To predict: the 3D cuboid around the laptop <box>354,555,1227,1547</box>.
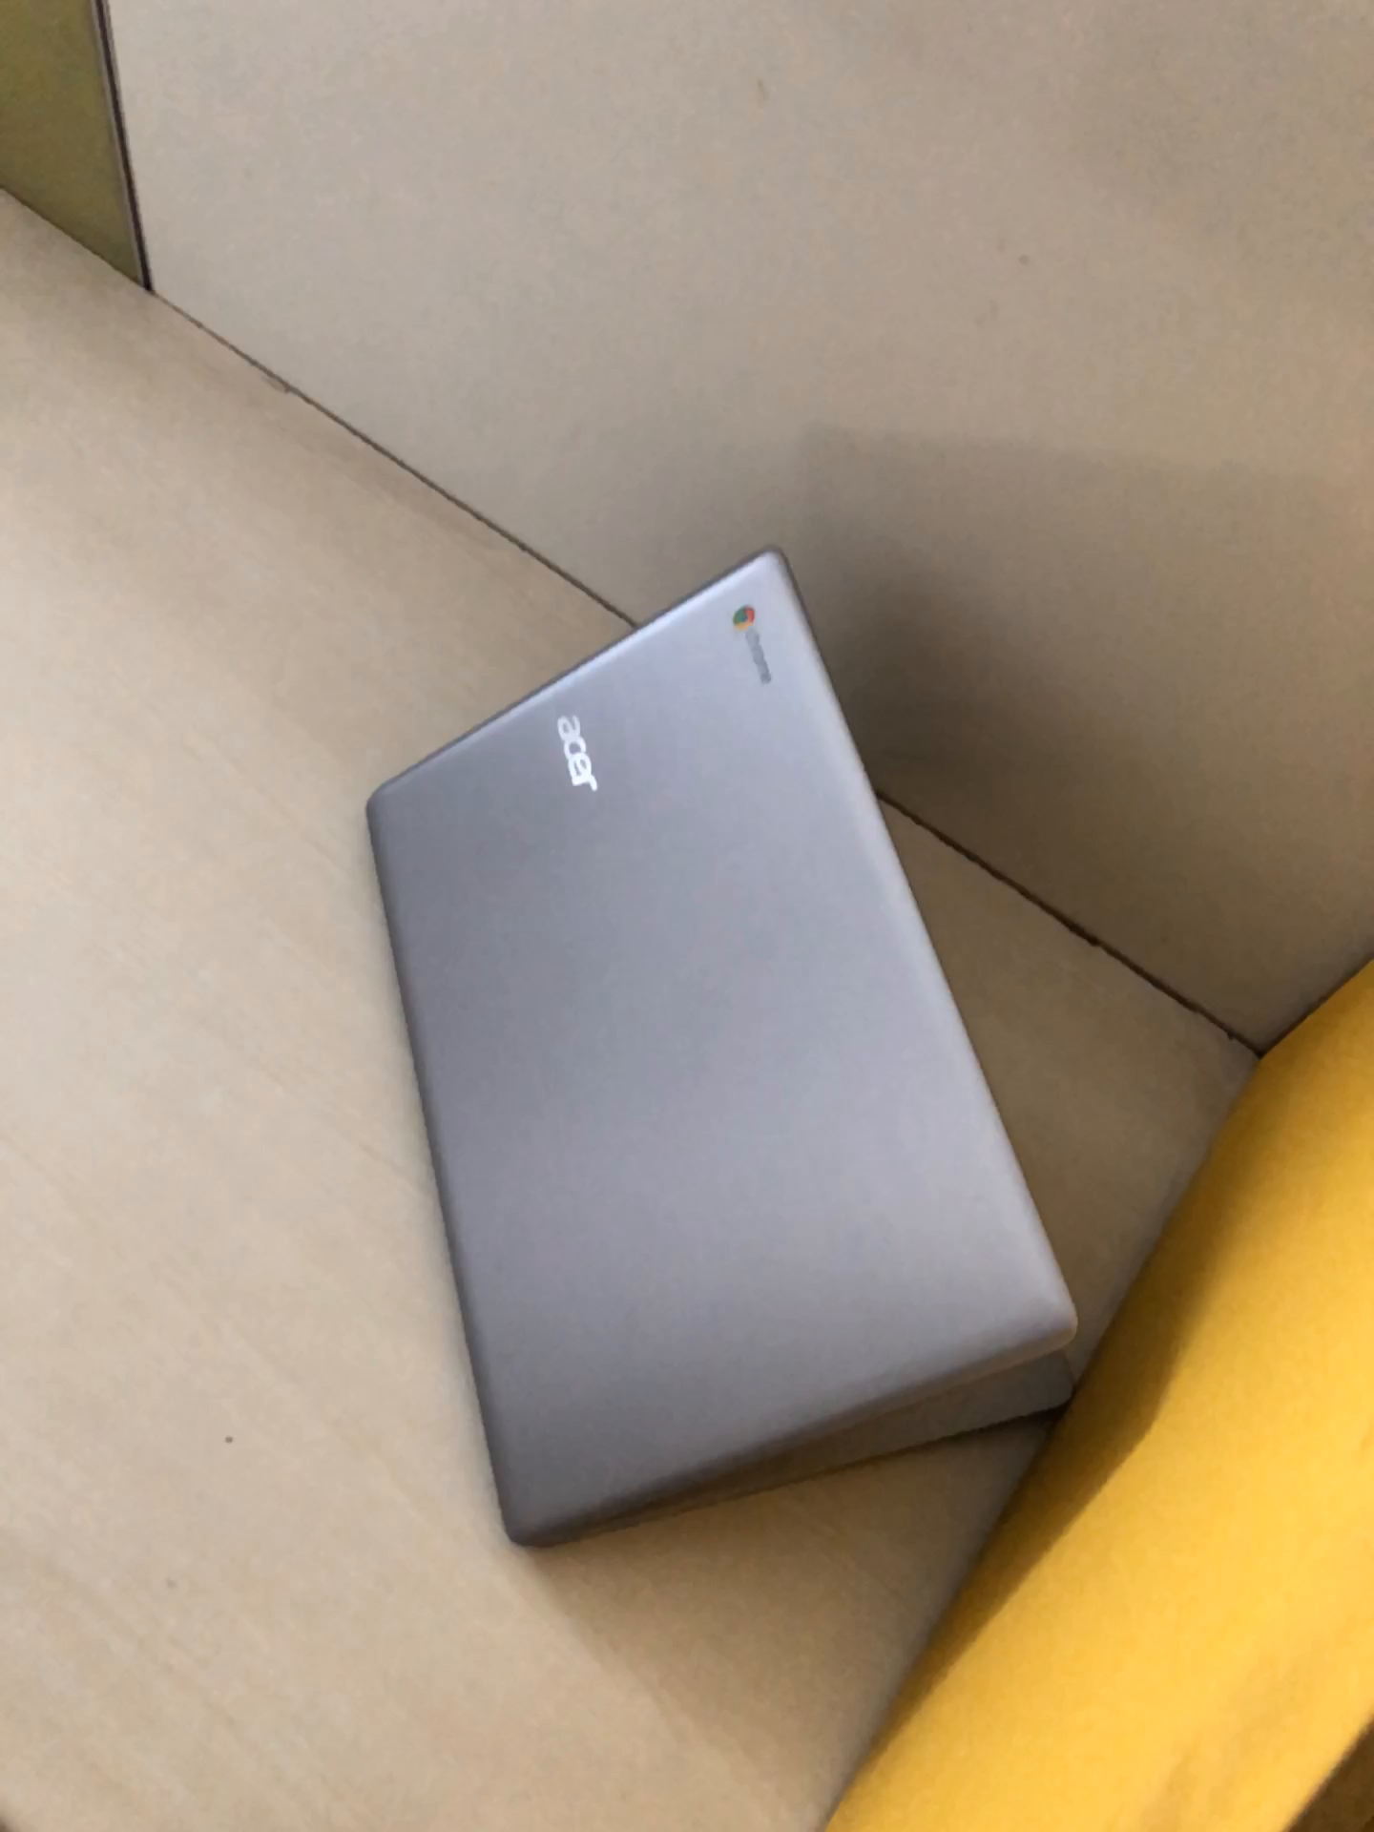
[{"bbox_3d":[0.013,0.039,0.577,0.221,0.135,0.315,-9,63,-14],"label":"laptop"}]
